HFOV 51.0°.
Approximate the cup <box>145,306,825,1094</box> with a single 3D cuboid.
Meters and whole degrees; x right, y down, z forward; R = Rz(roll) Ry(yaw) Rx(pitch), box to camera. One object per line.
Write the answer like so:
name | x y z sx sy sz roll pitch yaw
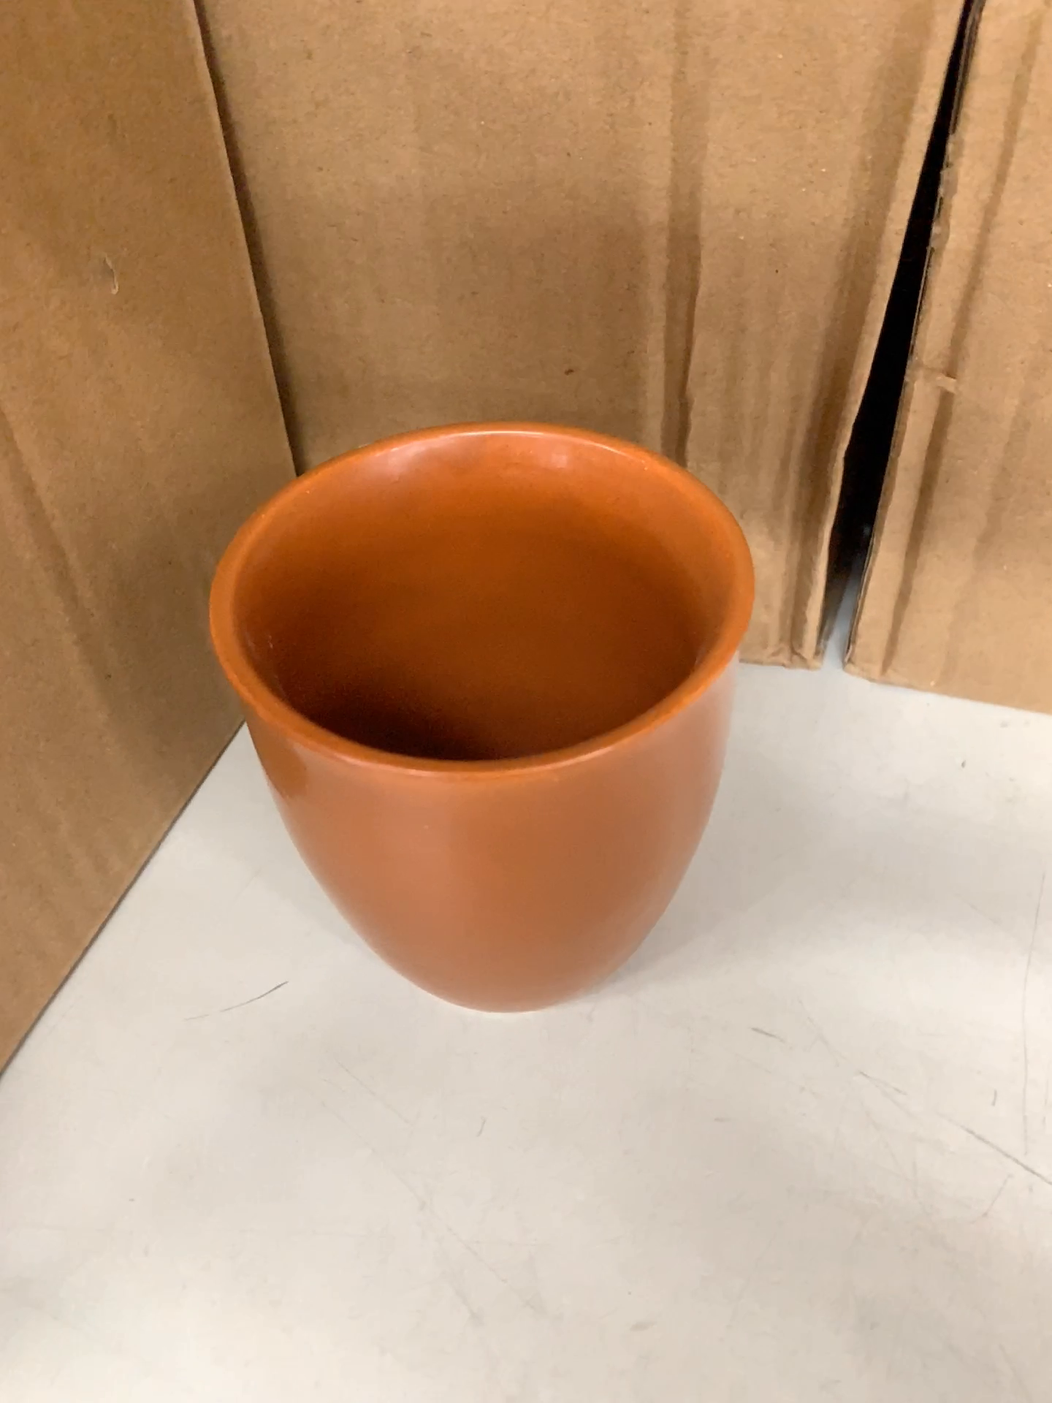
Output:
cup | -0.008 0.000 0.168 0.070 0.079 0.070 -2 48 2
